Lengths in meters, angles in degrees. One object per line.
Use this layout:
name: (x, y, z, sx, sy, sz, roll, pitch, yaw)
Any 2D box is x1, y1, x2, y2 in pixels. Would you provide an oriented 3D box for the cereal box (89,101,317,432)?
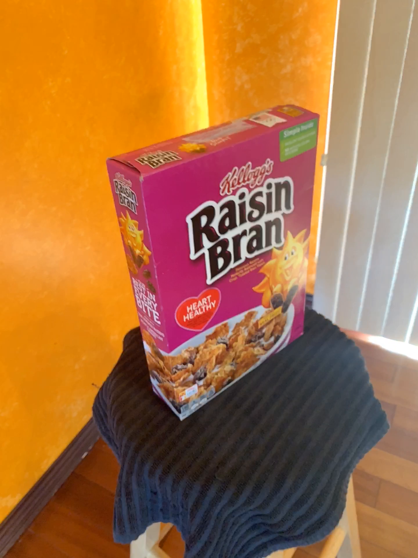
cereal box: (0.011, -0.007, 0.449, 0.200, 0.288, 0.060, -28, 42, -30)
